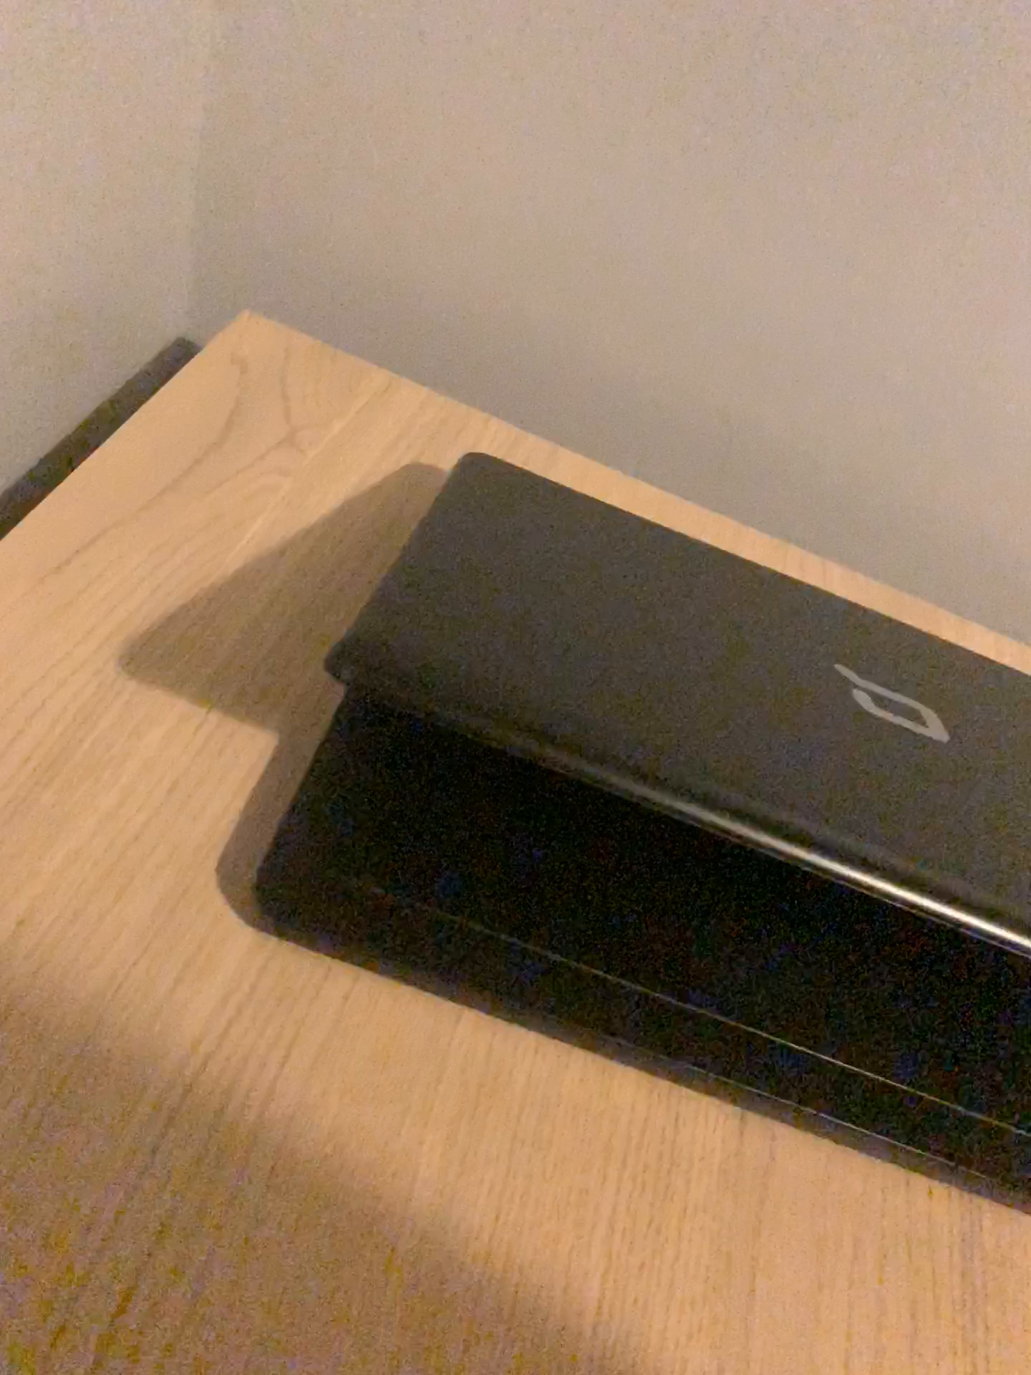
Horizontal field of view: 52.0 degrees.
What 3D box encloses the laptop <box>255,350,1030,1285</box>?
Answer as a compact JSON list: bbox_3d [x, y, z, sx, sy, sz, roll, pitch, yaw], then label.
[{"bbox_3d":[0.130,0.030,0.391,0.373,0.064,0.225,21,48,-3],"label":"laptop"}]
